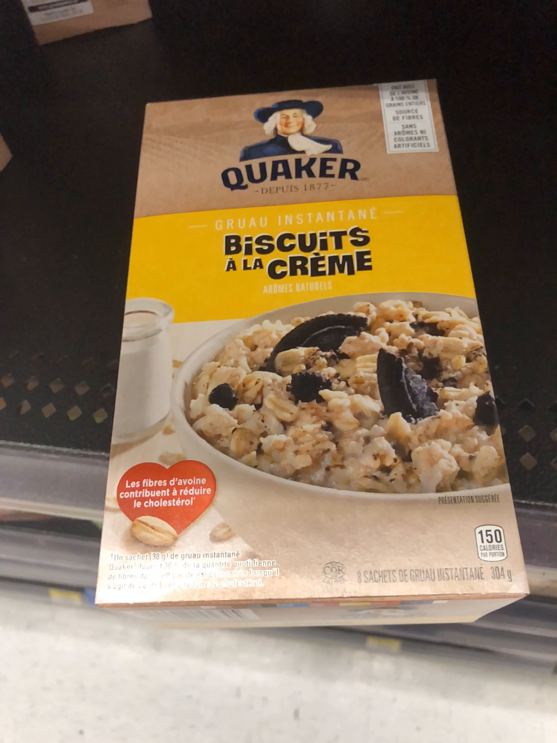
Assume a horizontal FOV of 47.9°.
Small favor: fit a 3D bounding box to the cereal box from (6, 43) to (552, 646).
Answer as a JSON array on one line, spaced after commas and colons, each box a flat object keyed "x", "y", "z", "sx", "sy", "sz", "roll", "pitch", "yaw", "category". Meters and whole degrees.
[{"x": 0.000, "y": -0.013, "z": 0.236, "sx": 0.140, "sy": 0.070, "sz": 0.210, "roll": -3, "pitch": 65, "yaw": 5, "category": "cereal box"}]
